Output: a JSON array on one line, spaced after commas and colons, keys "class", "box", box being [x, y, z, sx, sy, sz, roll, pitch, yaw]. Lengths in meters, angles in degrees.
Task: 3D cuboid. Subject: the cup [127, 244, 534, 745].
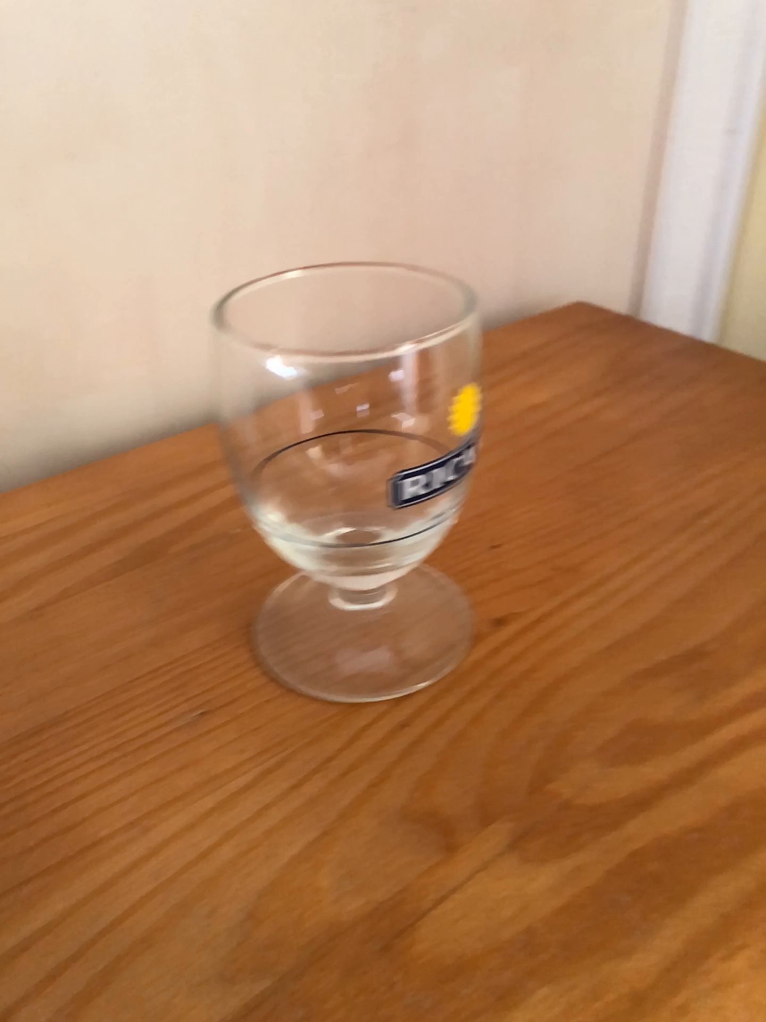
[{"class": "cup", "box": [-0.009, -0.009, 0.226, 0.069, 0.098, 0.070, -1, 32, 1]}]
